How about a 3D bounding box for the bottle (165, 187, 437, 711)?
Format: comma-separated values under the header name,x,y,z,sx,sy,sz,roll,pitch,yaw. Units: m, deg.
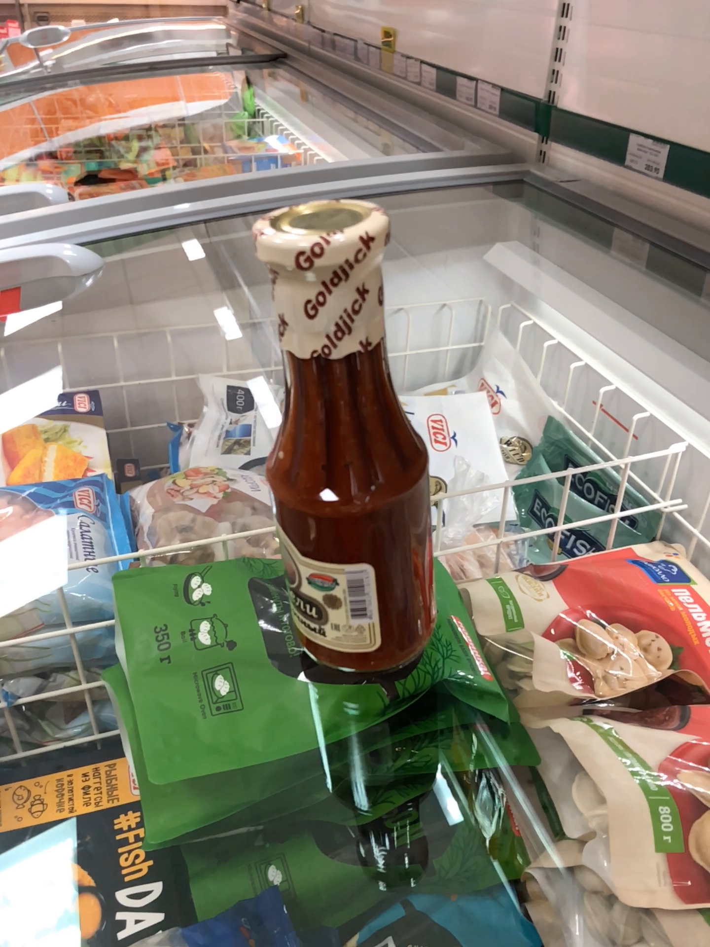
name,x,y,z,sx,sy,sz,roll,pitch,yaw
bottle,-0.015,-0.005,0.300,0.070,0.179,0.070,-3,34,2
